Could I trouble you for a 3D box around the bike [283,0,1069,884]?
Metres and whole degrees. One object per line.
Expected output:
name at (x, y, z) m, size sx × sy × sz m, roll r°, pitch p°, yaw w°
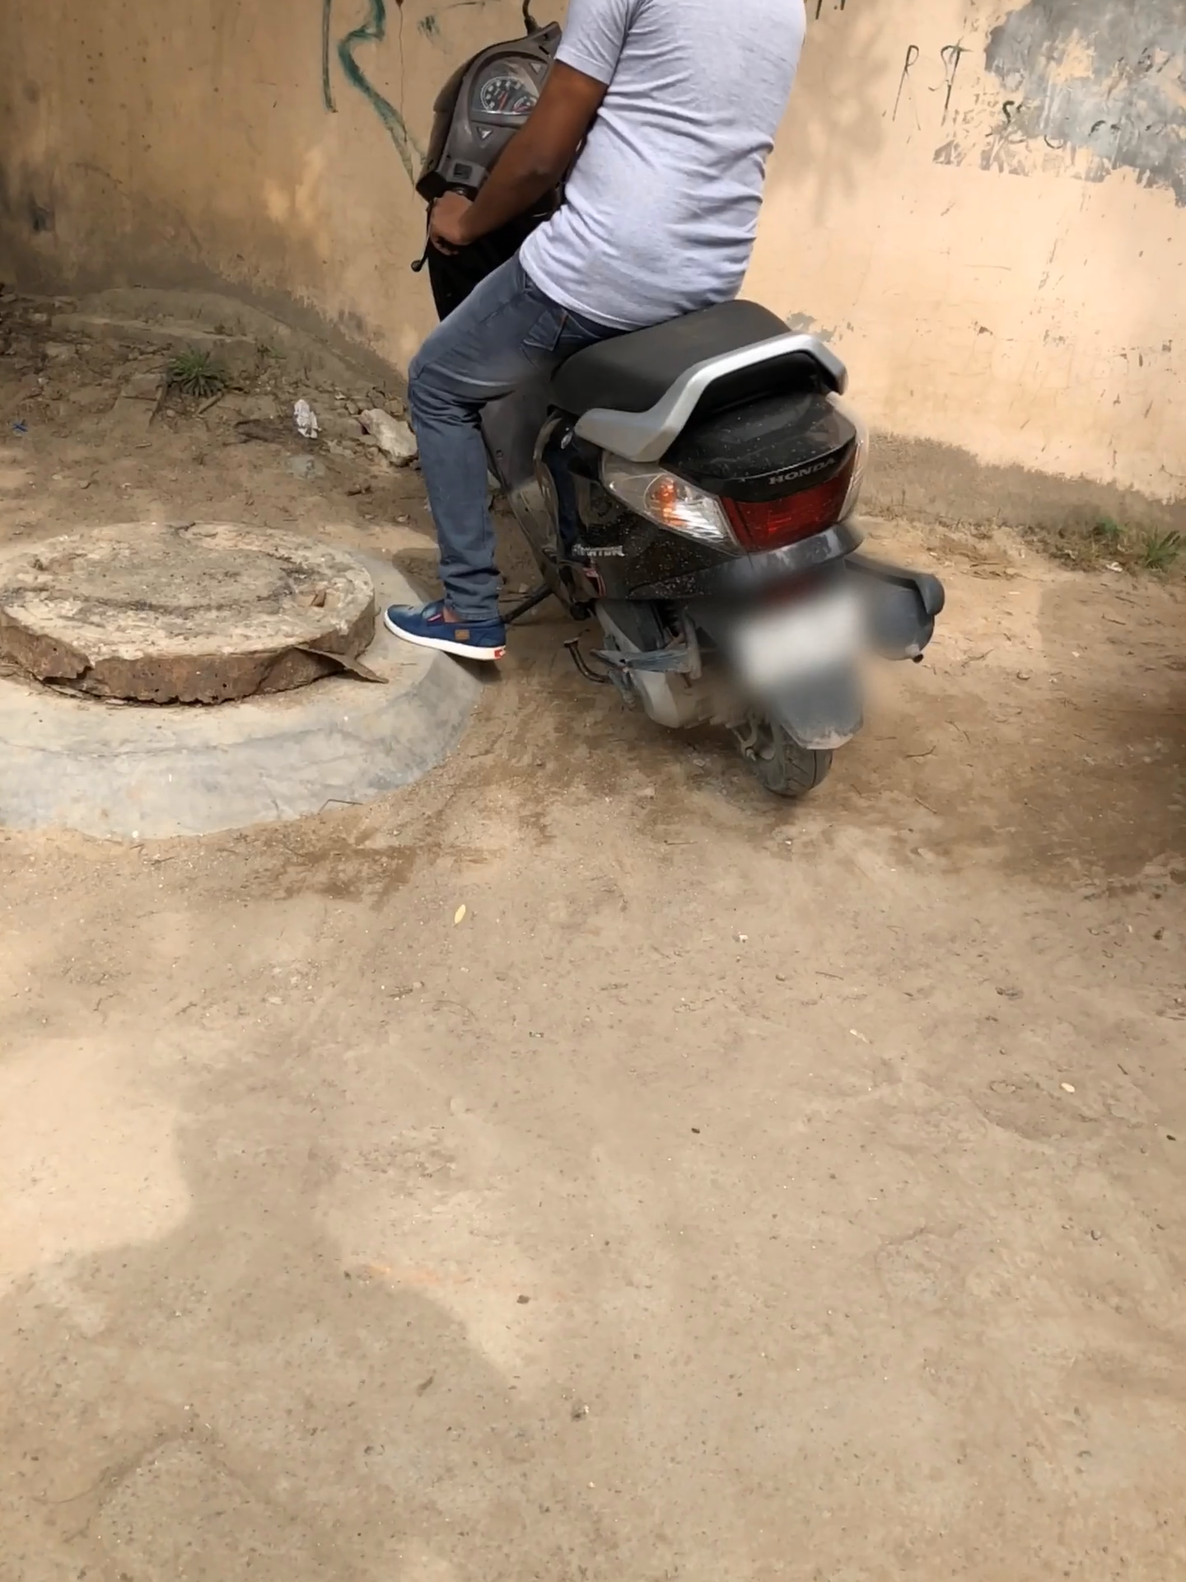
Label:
bike at (-0.067, -0.858, 2.550) m, size 0.654 × 1.228 × 1.657 m, roll -8°, pitch 34°, yaw -26°
